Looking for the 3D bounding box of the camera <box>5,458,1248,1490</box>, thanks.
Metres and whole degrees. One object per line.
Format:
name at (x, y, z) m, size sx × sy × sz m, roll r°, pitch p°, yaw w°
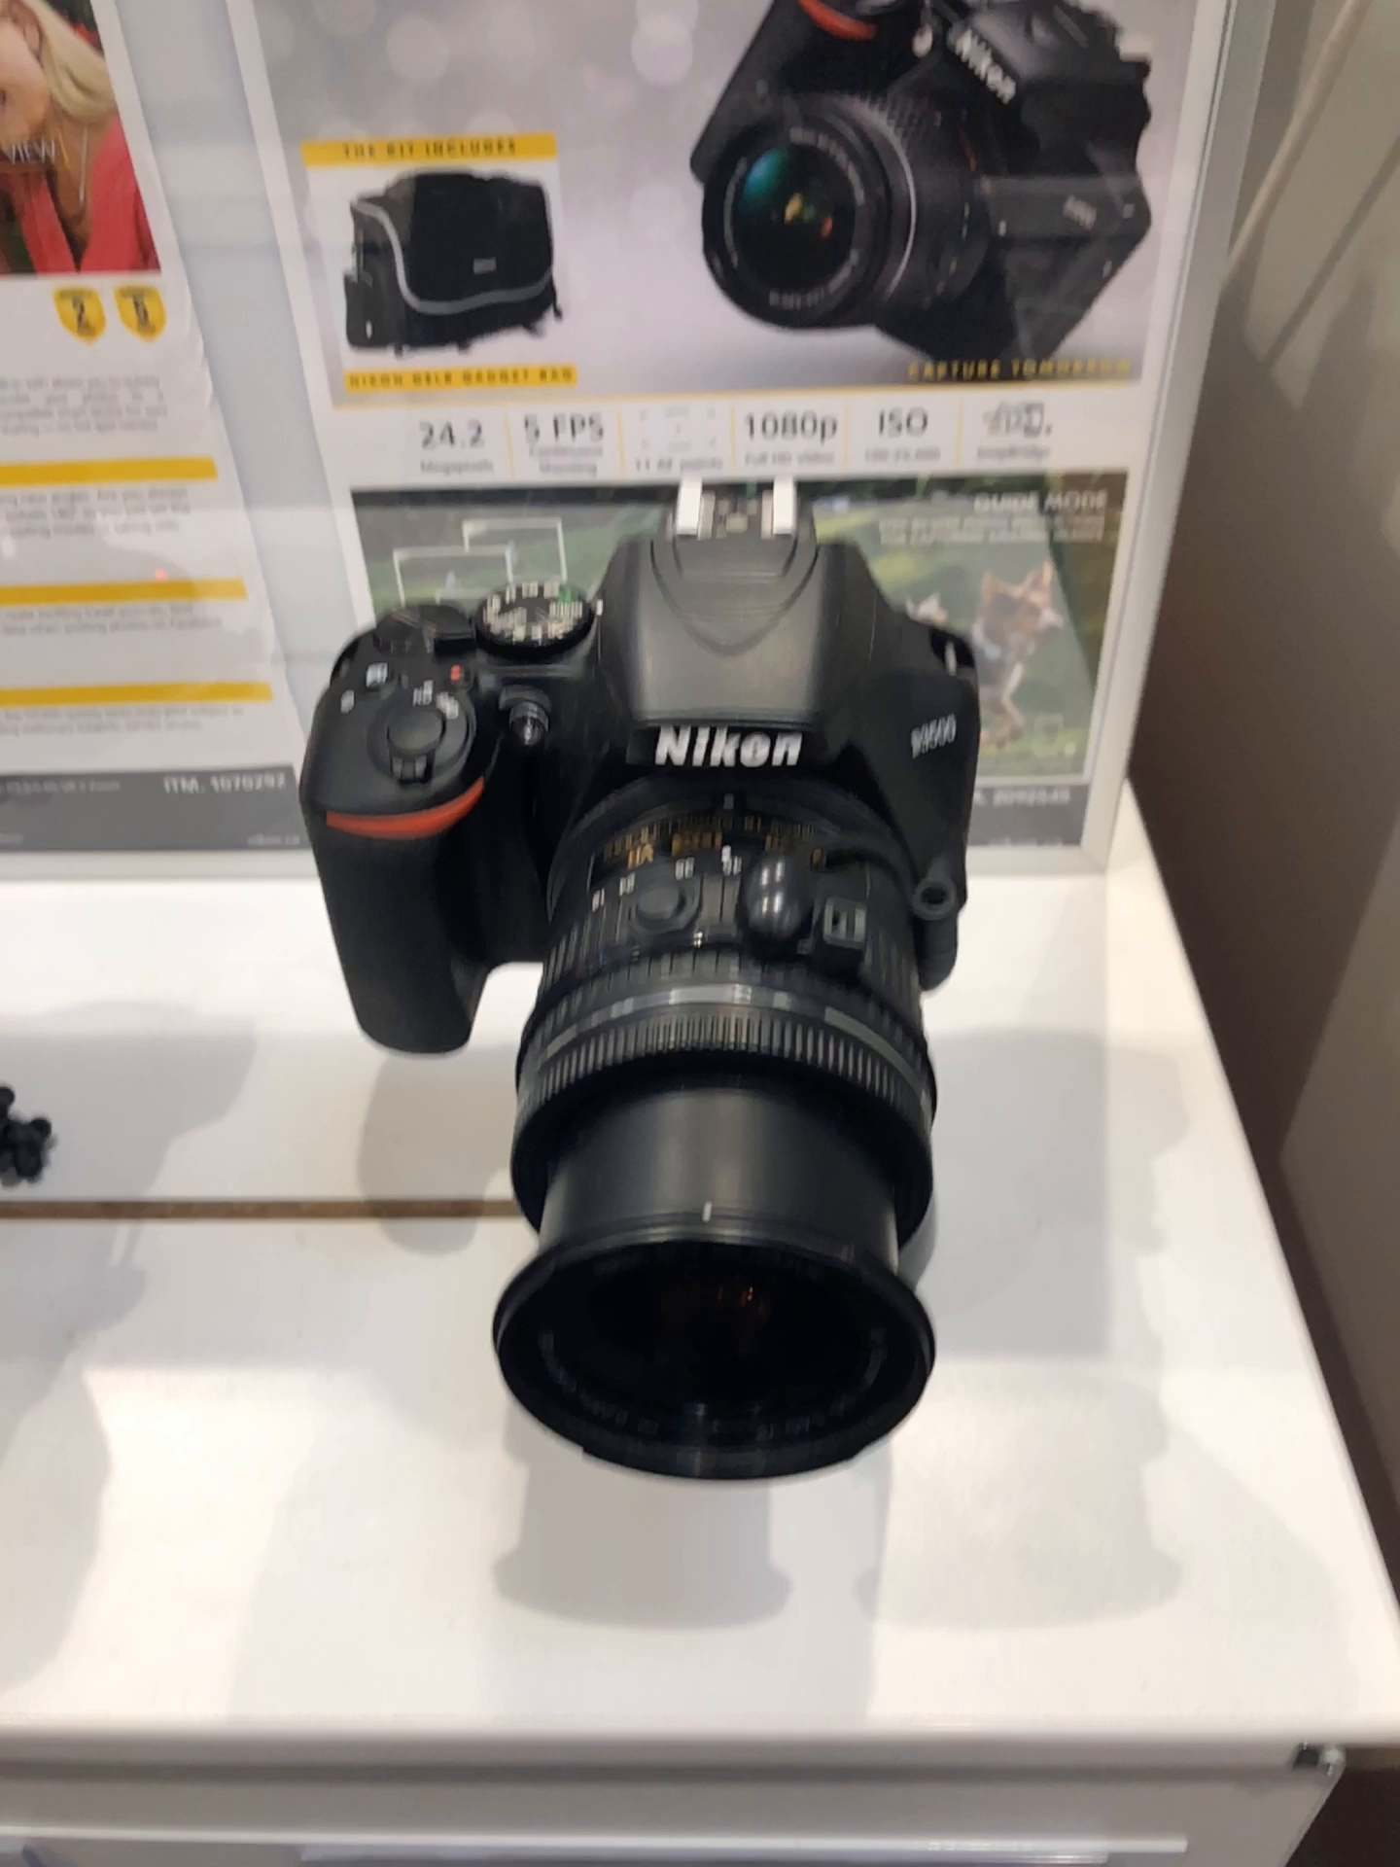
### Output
camera at (-0.007, -0.001, 0.244) m, size 0.130 × 0.089 × 0.141 m, roll -1°, pitch 41°, yaw 1°
